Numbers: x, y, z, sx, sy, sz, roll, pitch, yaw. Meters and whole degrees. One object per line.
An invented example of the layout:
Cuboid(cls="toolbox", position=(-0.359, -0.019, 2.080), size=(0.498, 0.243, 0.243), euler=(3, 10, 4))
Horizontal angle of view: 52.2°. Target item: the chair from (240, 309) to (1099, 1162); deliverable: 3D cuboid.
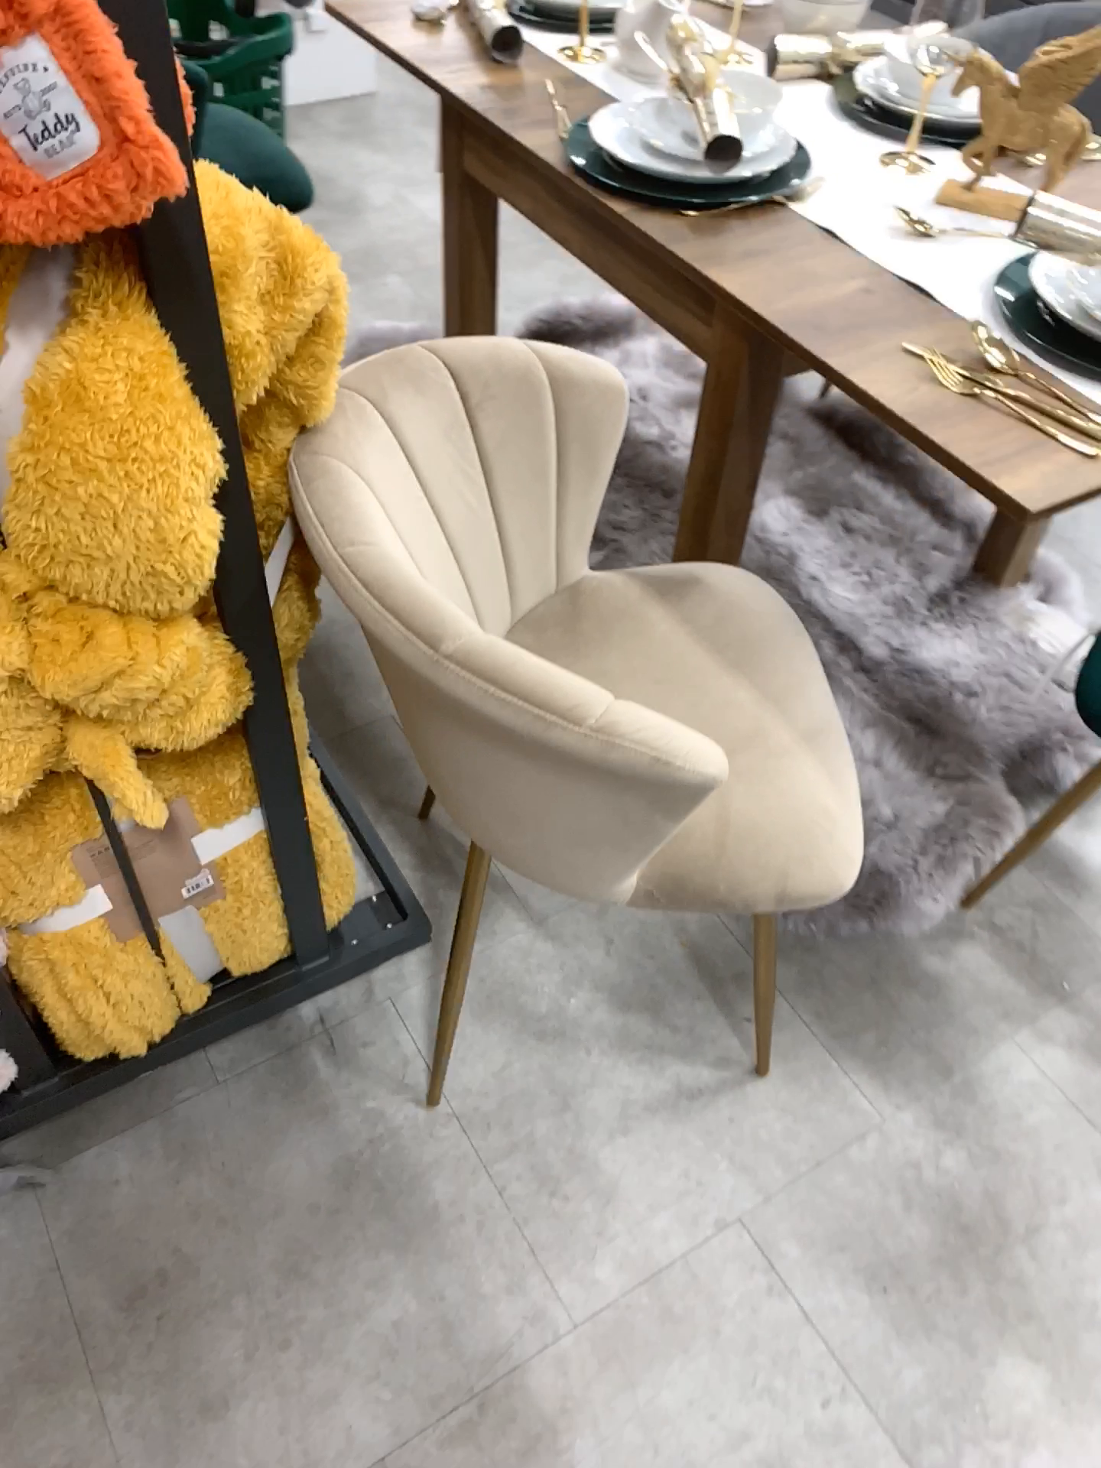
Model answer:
Cuboid(cls="chair", position=(0.046, 0.010, 1.171), size=(0.572, 0.666, 0.566), euler=(-2, 47, -6))
